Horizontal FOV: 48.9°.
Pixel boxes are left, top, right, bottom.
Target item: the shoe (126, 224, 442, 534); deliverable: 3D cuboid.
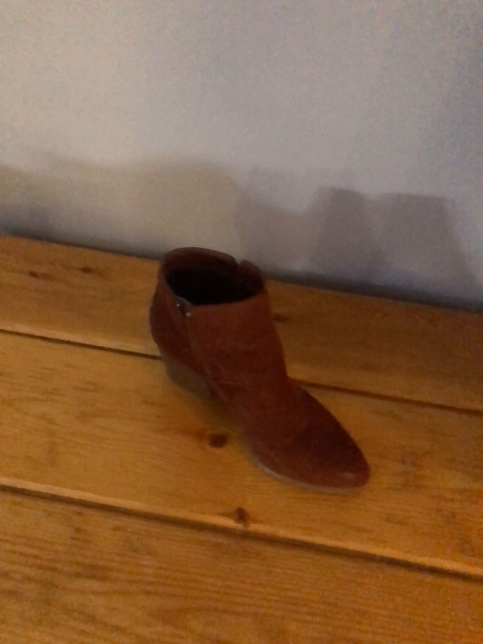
[{"bbox_3d":[0.022,0.048,0.481,0.250,0.150,0.090,35,56,22],"label":"shoe"}]
